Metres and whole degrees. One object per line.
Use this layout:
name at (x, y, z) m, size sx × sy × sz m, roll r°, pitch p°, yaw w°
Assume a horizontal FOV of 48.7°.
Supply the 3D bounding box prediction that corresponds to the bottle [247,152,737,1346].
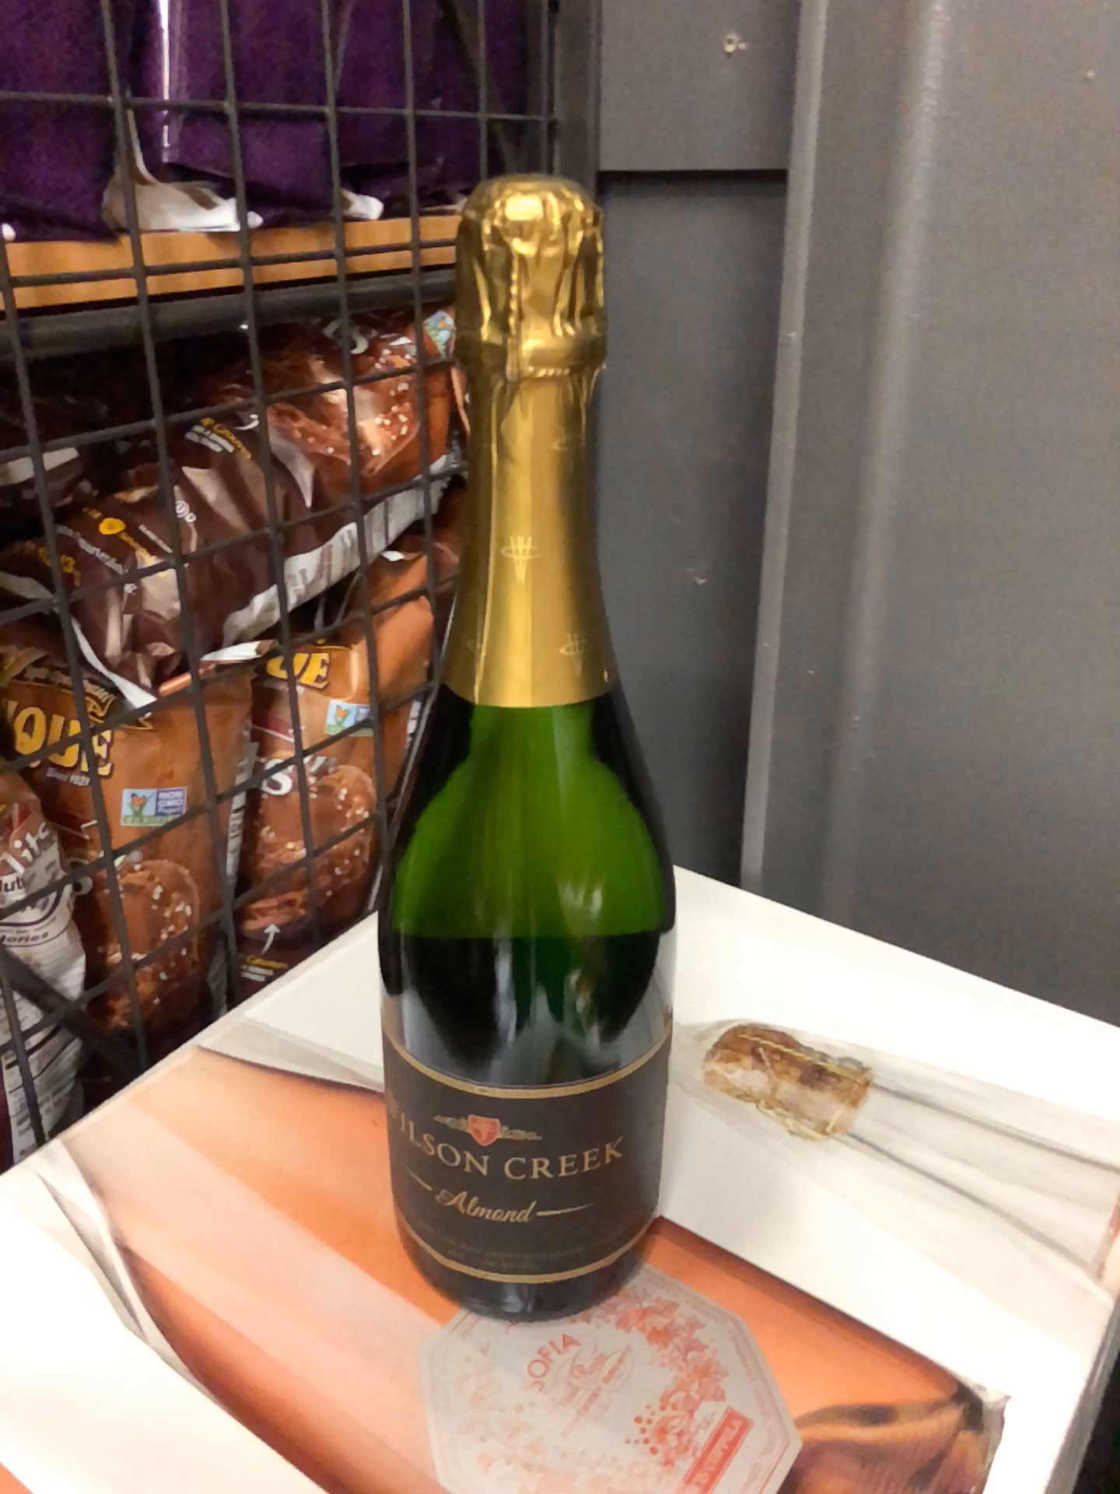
bottle at (-0.009, 0.009, 0.340) m, size 0.090 × 0.309 × 0.090 m, roll 0°, pitch 24°, yaw 0°
